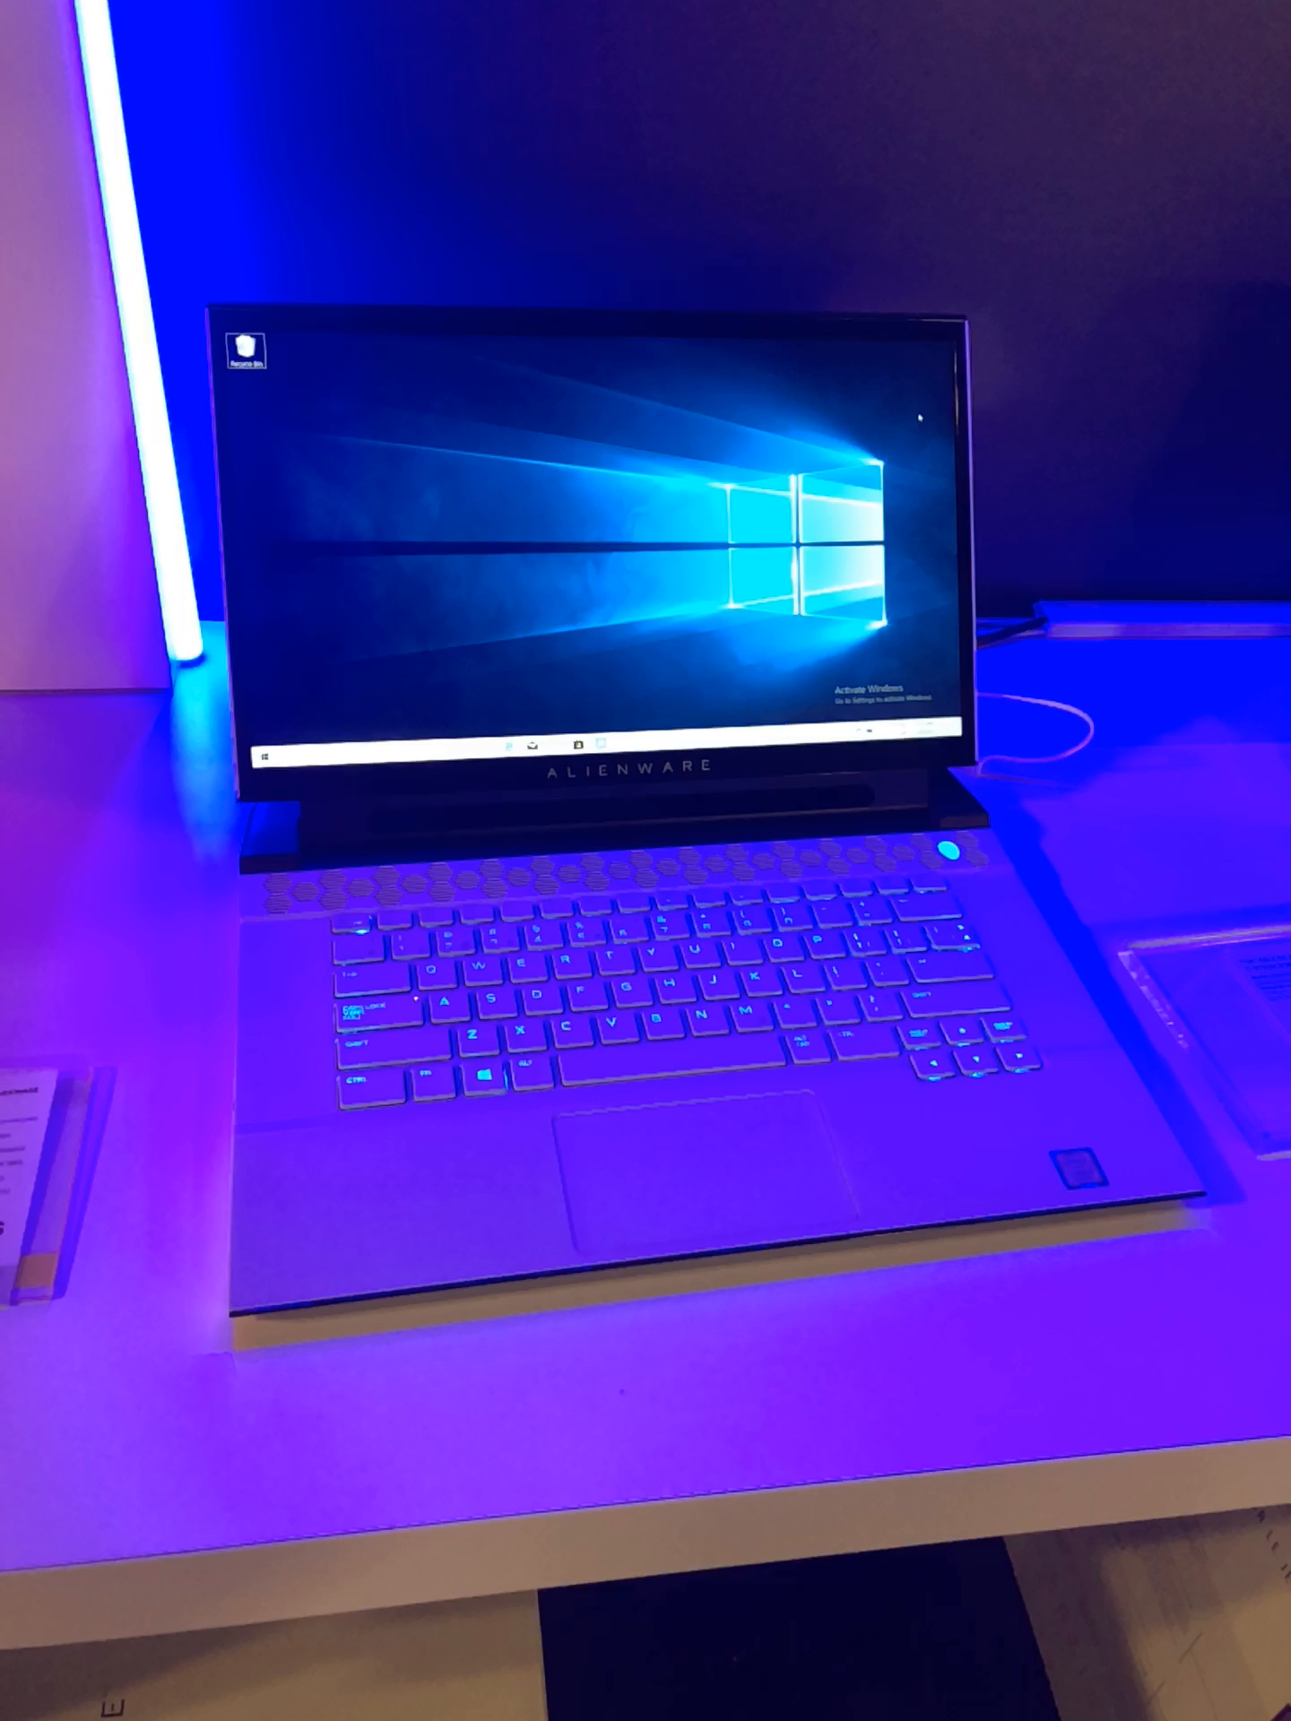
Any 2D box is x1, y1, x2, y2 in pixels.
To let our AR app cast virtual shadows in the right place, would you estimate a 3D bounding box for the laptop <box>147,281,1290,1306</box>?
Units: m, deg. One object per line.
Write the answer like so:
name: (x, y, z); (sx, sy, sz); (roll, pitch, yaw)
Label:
laptop: (0.006, -0.062, 0.585); (0.356, 0.194, 0.381); (-3, 42, -11)
